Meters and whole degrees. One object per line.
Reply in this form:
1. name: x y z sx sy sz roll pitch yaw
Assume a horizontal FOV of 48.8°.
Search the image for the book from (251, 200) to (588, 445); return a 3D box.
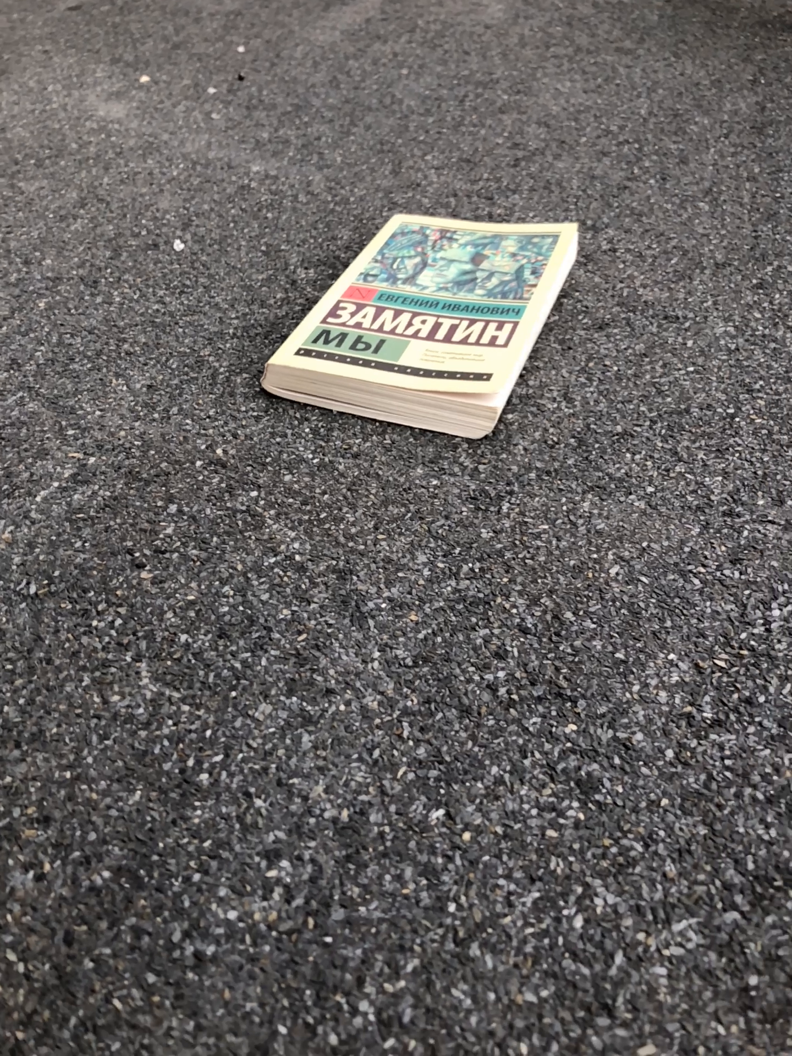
1. book: 0.021 -0.117 0.453 0.120 0.027 0.183 12 44 16
